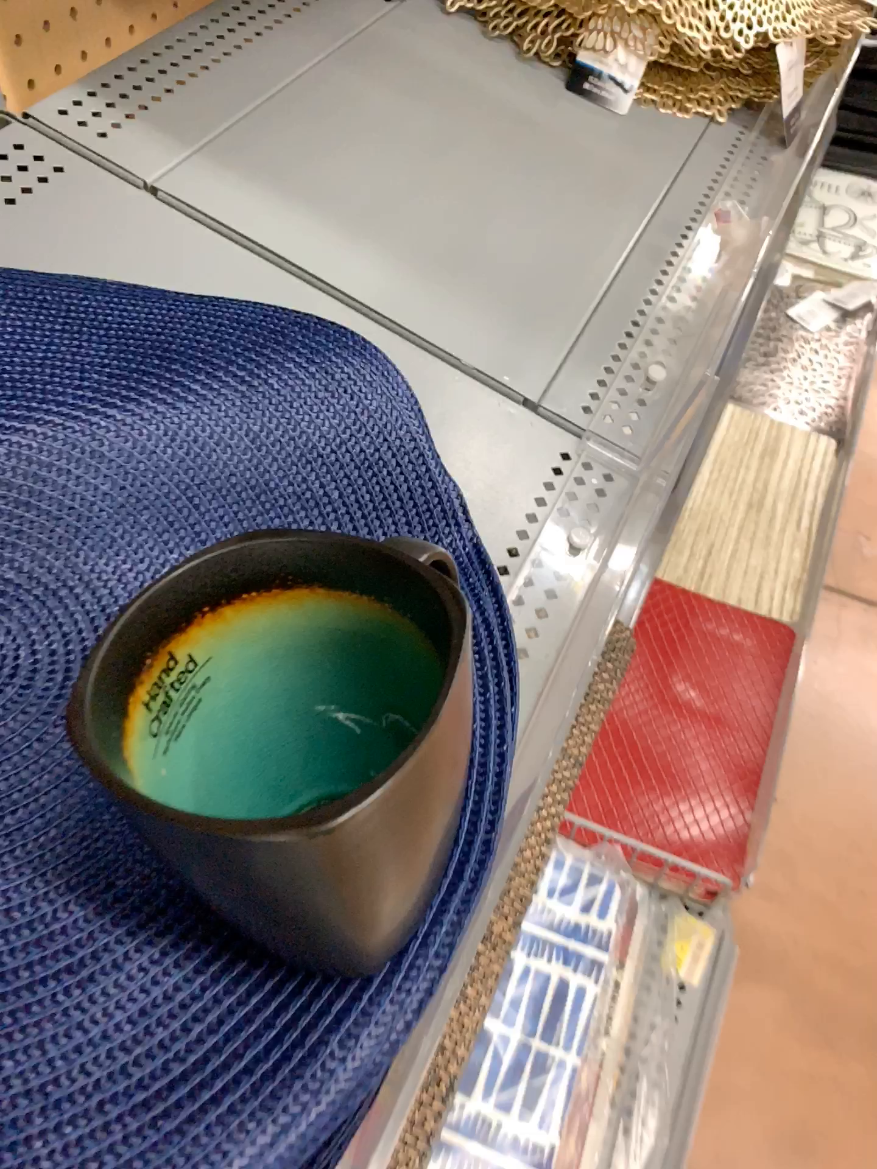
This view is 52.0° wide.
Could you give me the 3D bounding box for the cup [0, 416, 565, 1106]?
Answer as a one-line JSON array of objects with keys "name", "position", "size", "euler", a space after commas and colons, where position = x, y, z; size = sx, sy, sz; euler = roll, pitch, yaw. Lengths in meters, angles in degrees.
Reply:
[{"name": "cup", "position": [-0.035, 0.045, 0.254], "size": [0.090, 0.109, 0.130], "euler": [21, 52, 22]}]
